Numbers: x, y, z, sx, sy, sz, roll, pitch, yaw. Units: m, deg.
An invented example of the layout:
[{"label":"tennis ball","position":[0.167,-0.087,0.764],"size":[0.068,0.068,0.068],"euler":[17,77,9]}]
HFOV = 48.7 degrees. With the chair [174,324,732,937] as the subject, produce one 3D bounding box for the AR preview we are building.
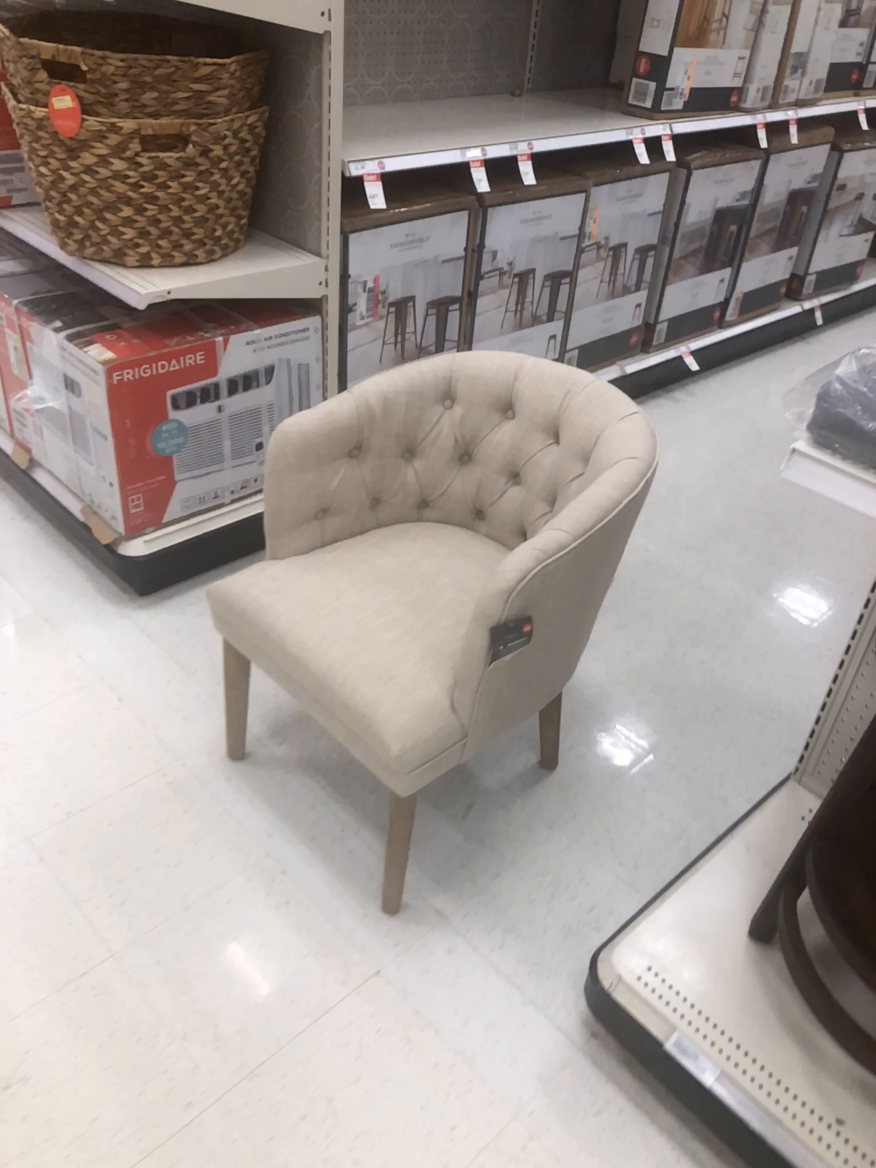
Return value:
[{"label":"chair","position":[0.009,0.032,1.718],"size":[0.684,0.700,0.562],"euler":[-26,46,-37]}]
